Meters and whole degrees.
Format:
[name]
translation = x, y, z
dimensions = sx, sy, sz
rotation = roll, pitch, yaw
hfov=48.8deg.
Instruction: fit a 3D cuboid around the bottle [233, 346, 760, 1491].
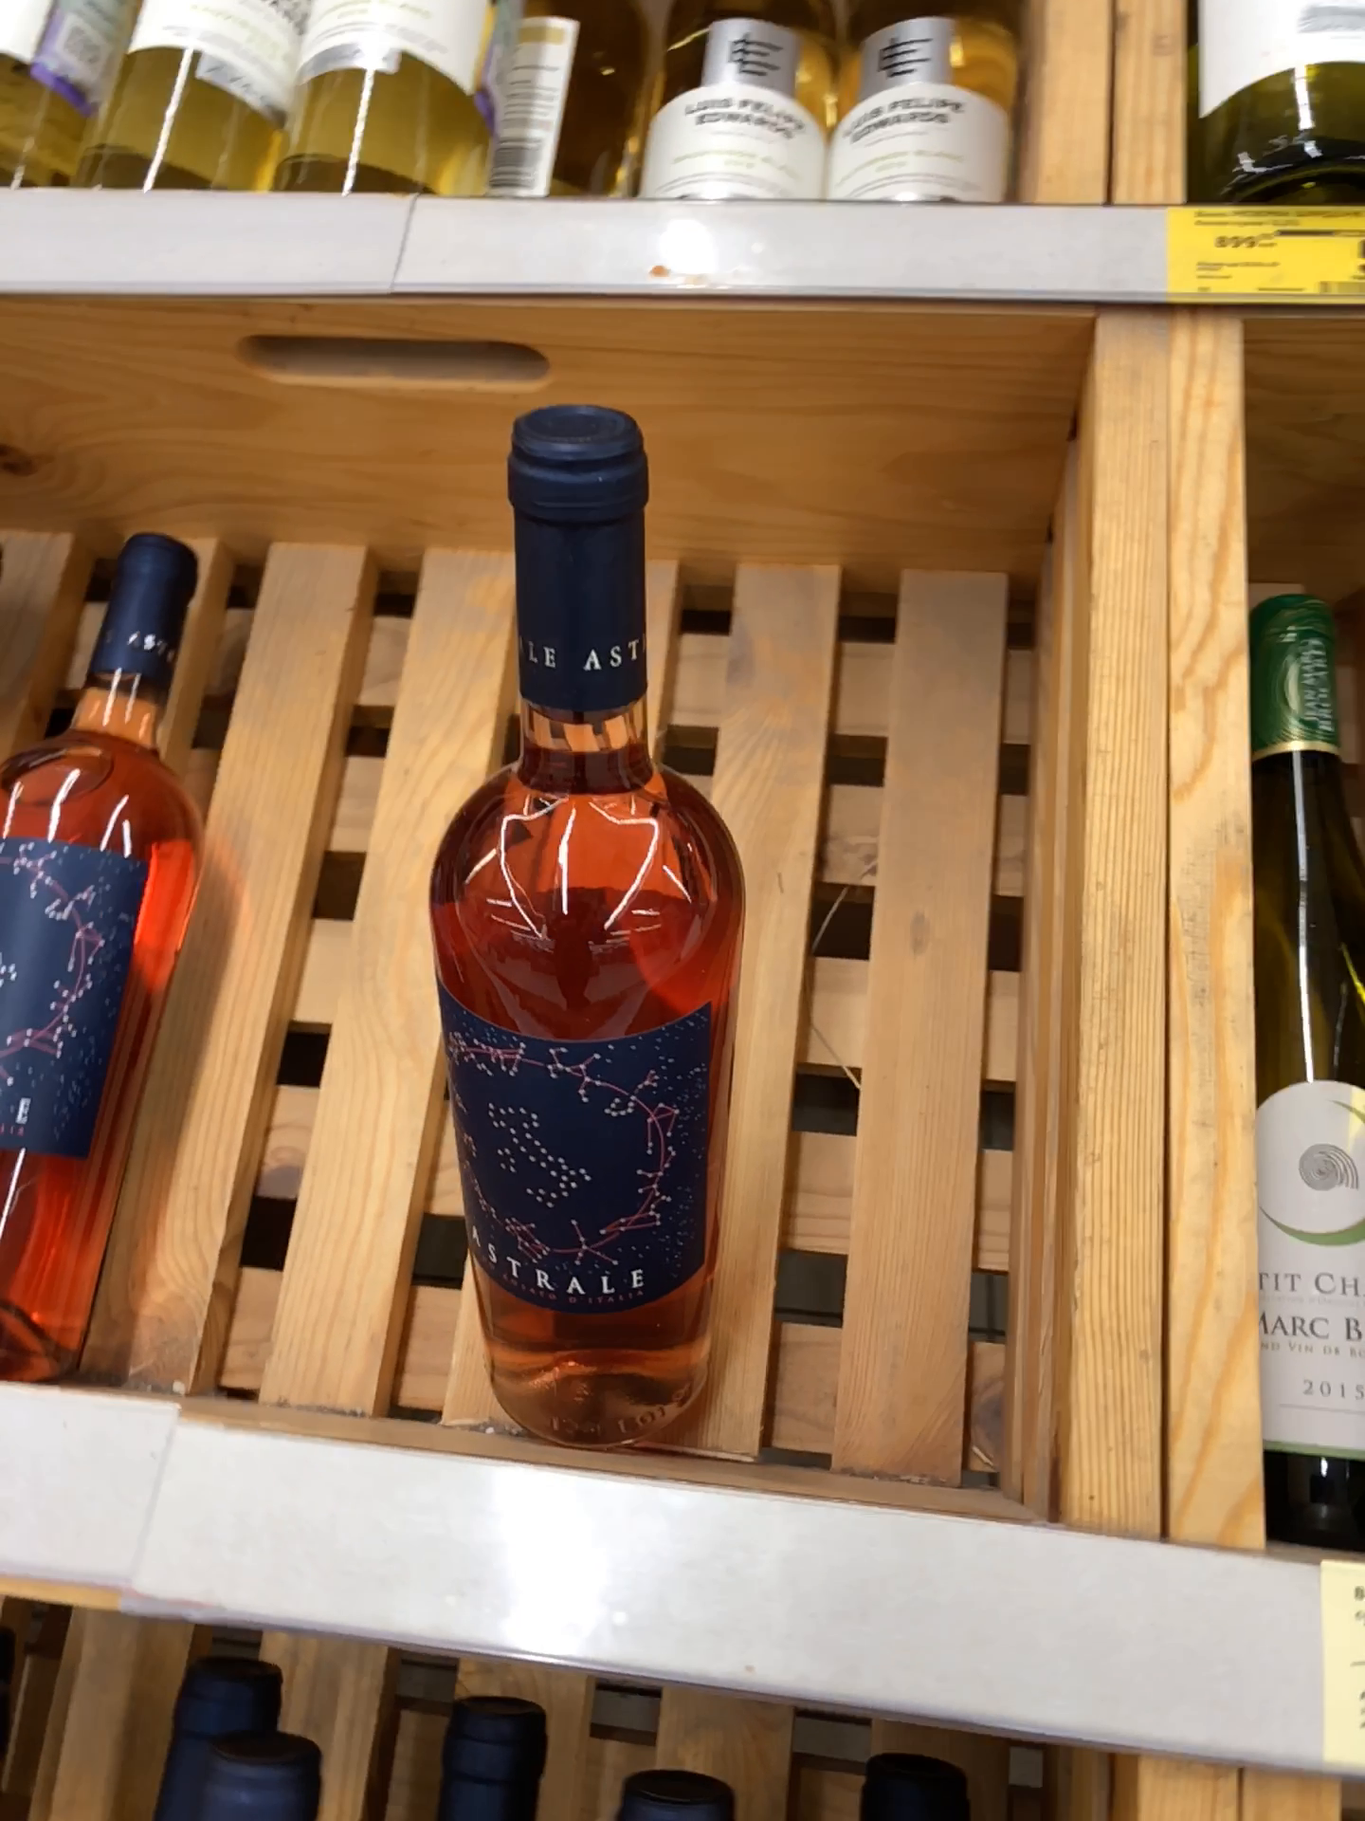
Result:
[bottle]
translation = -0.031, 0.020, 0.380
dimensions = 0.080, 0.288, 0.080
rotation = -1, 37, 0
